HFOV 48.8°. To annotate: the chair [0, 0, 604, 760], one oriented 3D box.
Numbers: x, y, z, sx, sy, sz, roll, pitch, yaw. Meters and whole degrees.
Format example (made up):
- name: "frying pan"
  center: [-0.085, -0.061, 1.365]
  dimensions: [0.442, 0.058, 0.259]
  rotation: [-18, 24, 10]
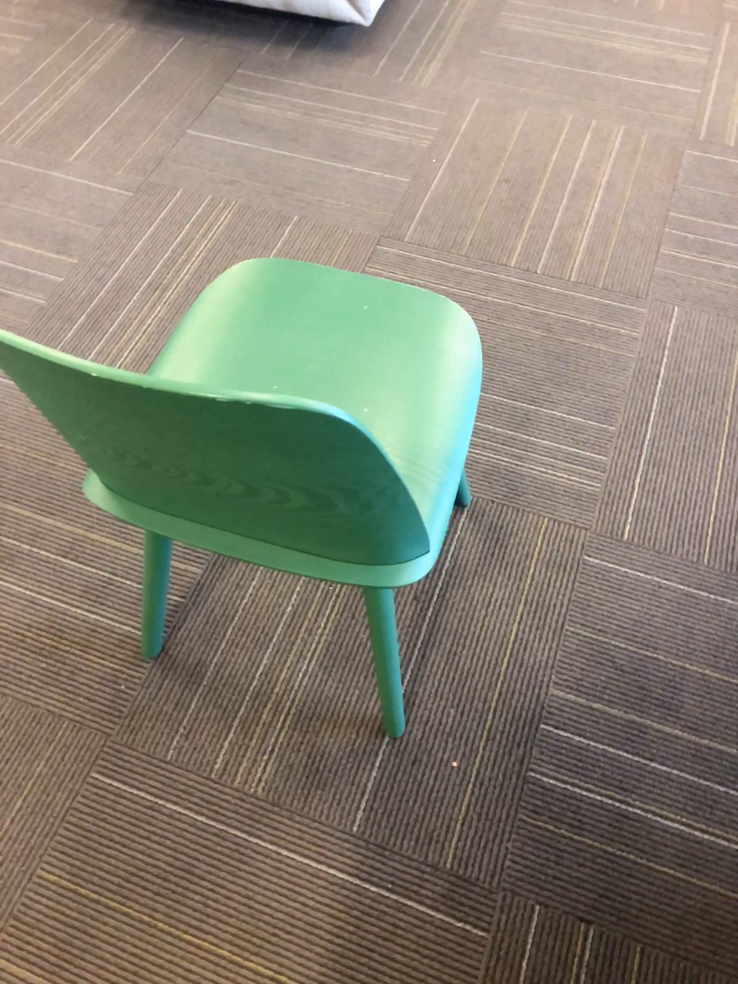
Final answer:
- name: "chair"
  center: [-0.088, -0.101, 1.012]
  dimensions: [0.500, 0.778, 0.501]
  rotation: [15, 57, 11]
